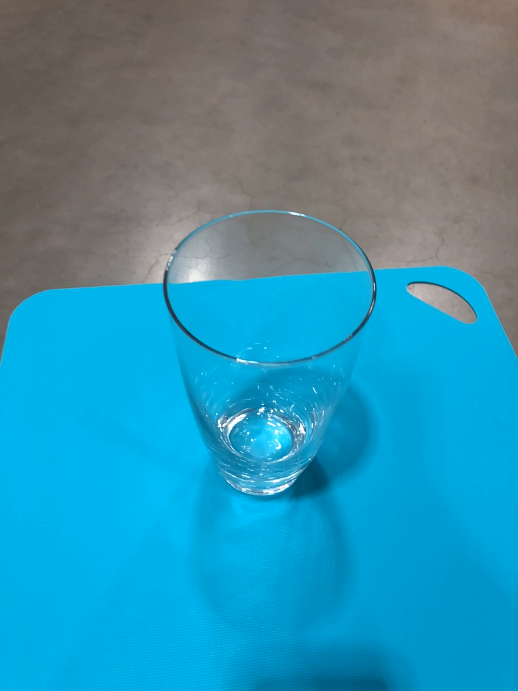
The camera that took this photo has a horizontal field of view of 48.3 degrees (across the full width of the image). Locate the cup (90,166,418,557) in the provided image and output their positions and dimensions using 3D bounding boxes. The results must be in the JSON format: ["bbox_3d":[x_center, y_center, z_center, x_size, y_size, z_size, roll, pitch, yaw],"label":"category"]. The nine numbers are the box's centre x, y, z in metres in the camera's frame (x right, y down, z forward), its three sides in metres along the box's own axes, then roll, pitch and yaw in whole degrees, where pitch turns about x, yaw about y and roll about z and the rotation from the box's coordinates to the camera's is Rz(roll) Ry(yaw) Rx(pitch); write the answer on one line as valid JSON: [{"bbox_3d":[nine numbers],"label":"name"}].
[{"bbox_3d":[-0.005,0.015,0.307,0.100,0.160,0.100,1,51,-1],"label":"cup"}]
